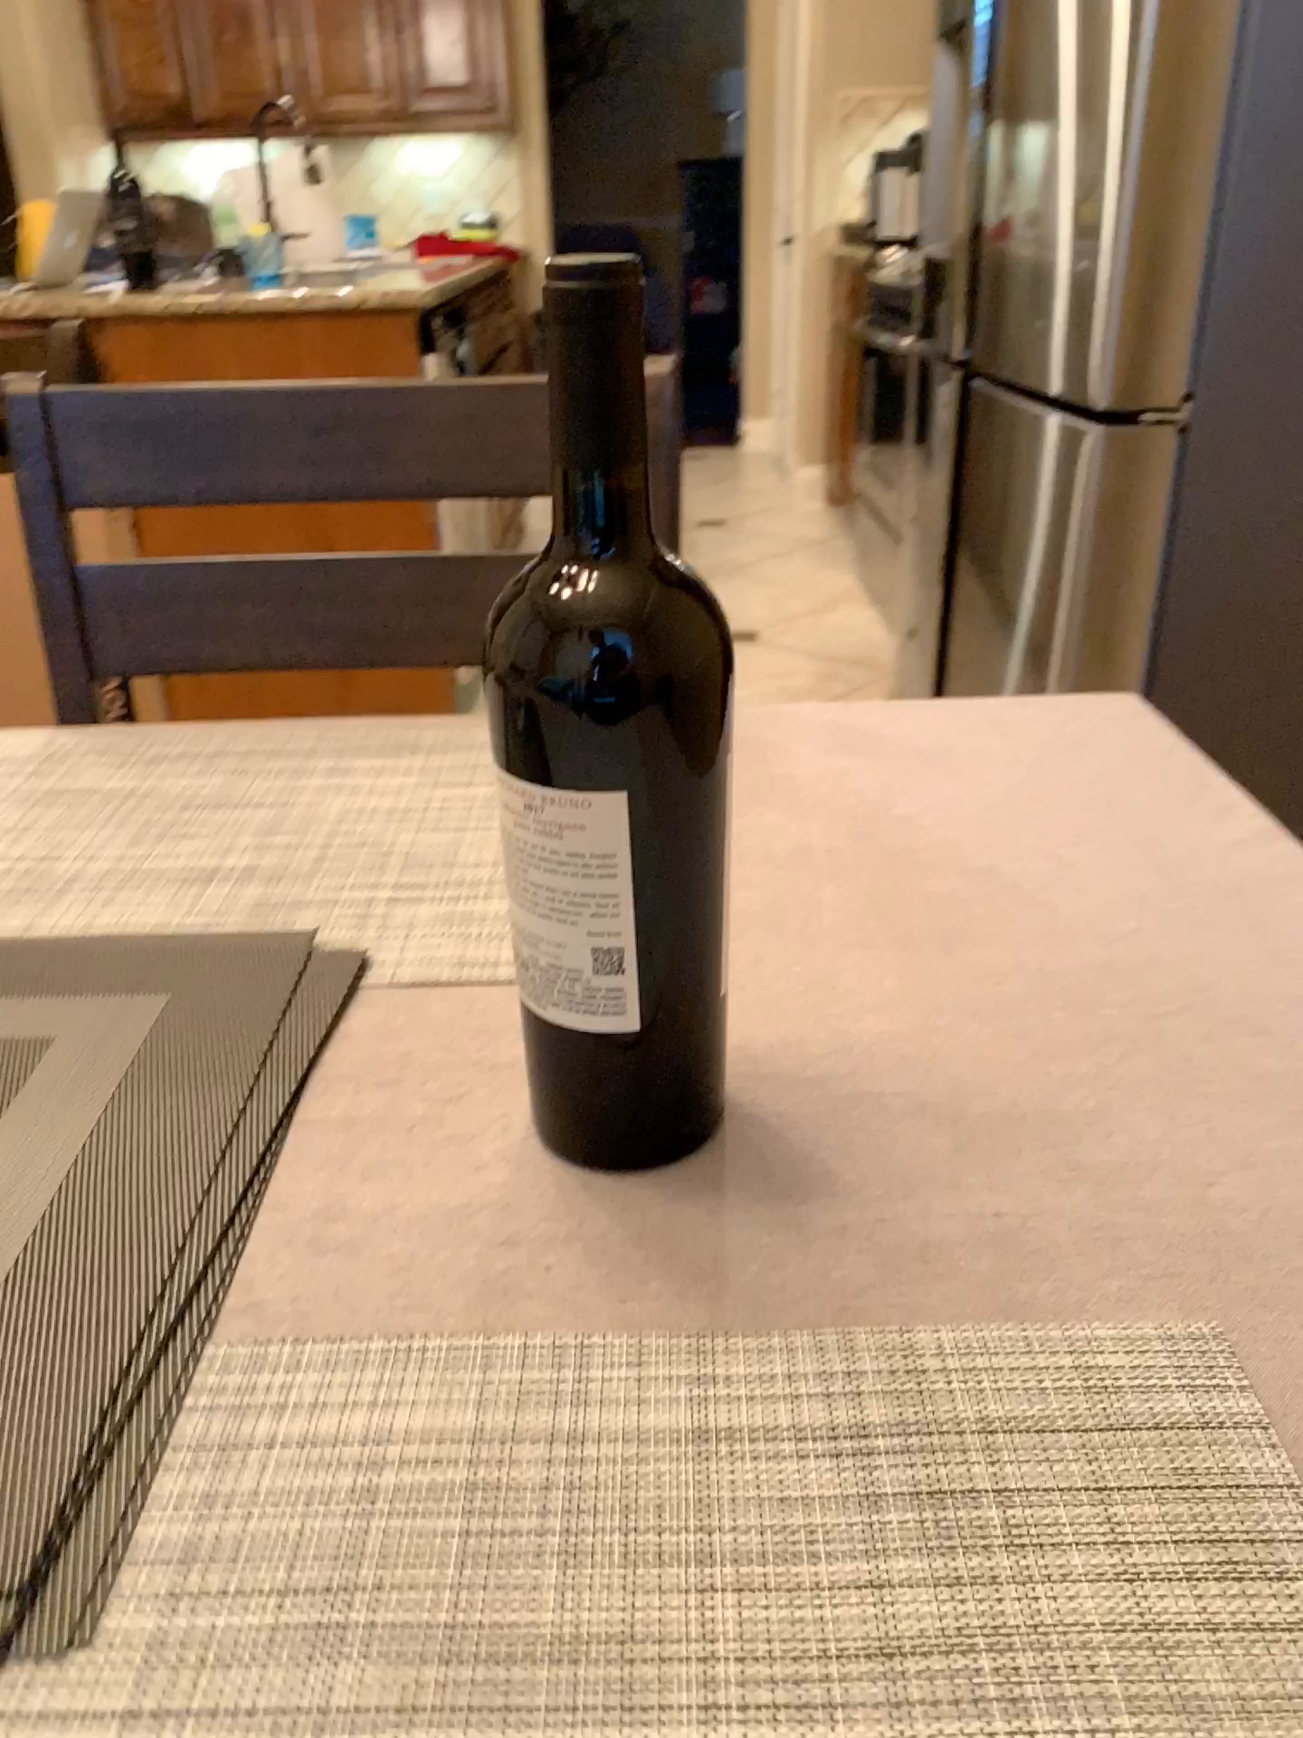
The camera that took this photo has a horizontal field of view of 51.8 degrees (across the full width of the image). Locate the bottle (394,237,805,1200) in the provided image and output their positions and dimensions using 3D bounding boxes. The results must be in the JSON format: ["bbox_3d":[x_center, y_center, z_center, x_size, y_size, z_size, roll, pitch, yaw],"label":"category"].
[{"bbox_3d":[-0.009,-0.047,0.453,0.083,0.299,0.090,-1,26,1],"label":"bottle"}]
